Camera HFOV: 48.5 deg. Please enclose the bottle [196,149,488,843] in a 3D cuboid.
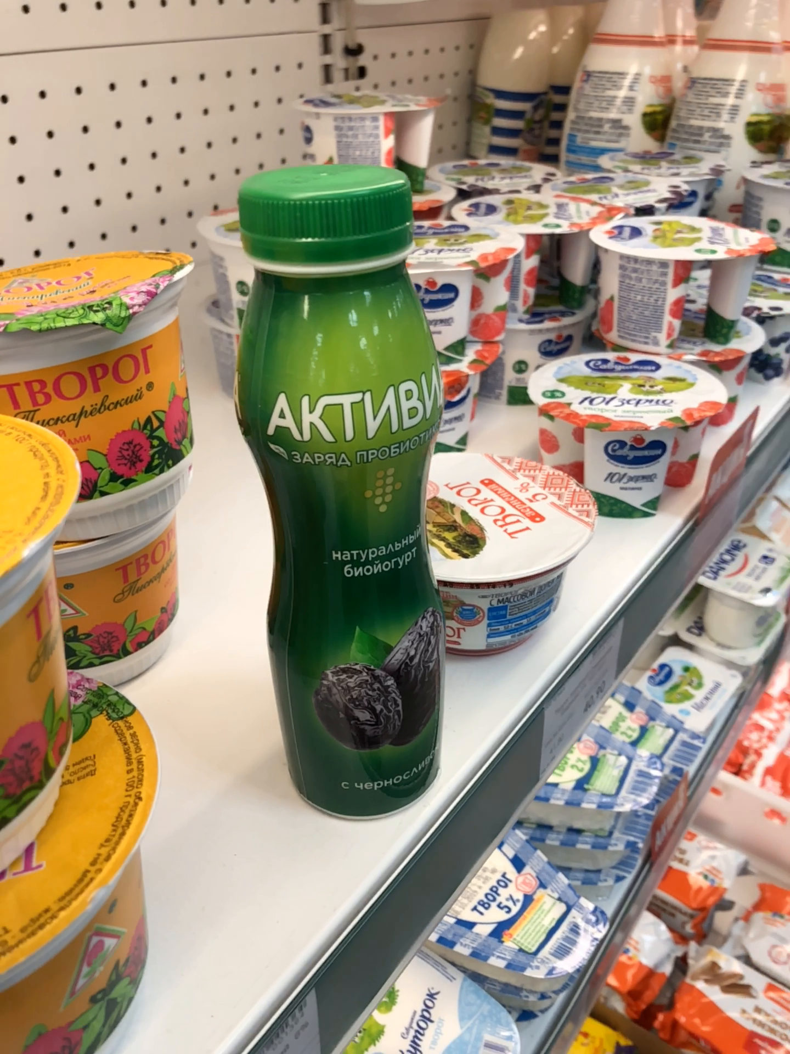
[{"bbox_3d":[-0.013,-0.001,0.248,0.050,0.185,0.054,-1,32,0],"label":"bottle"}]
